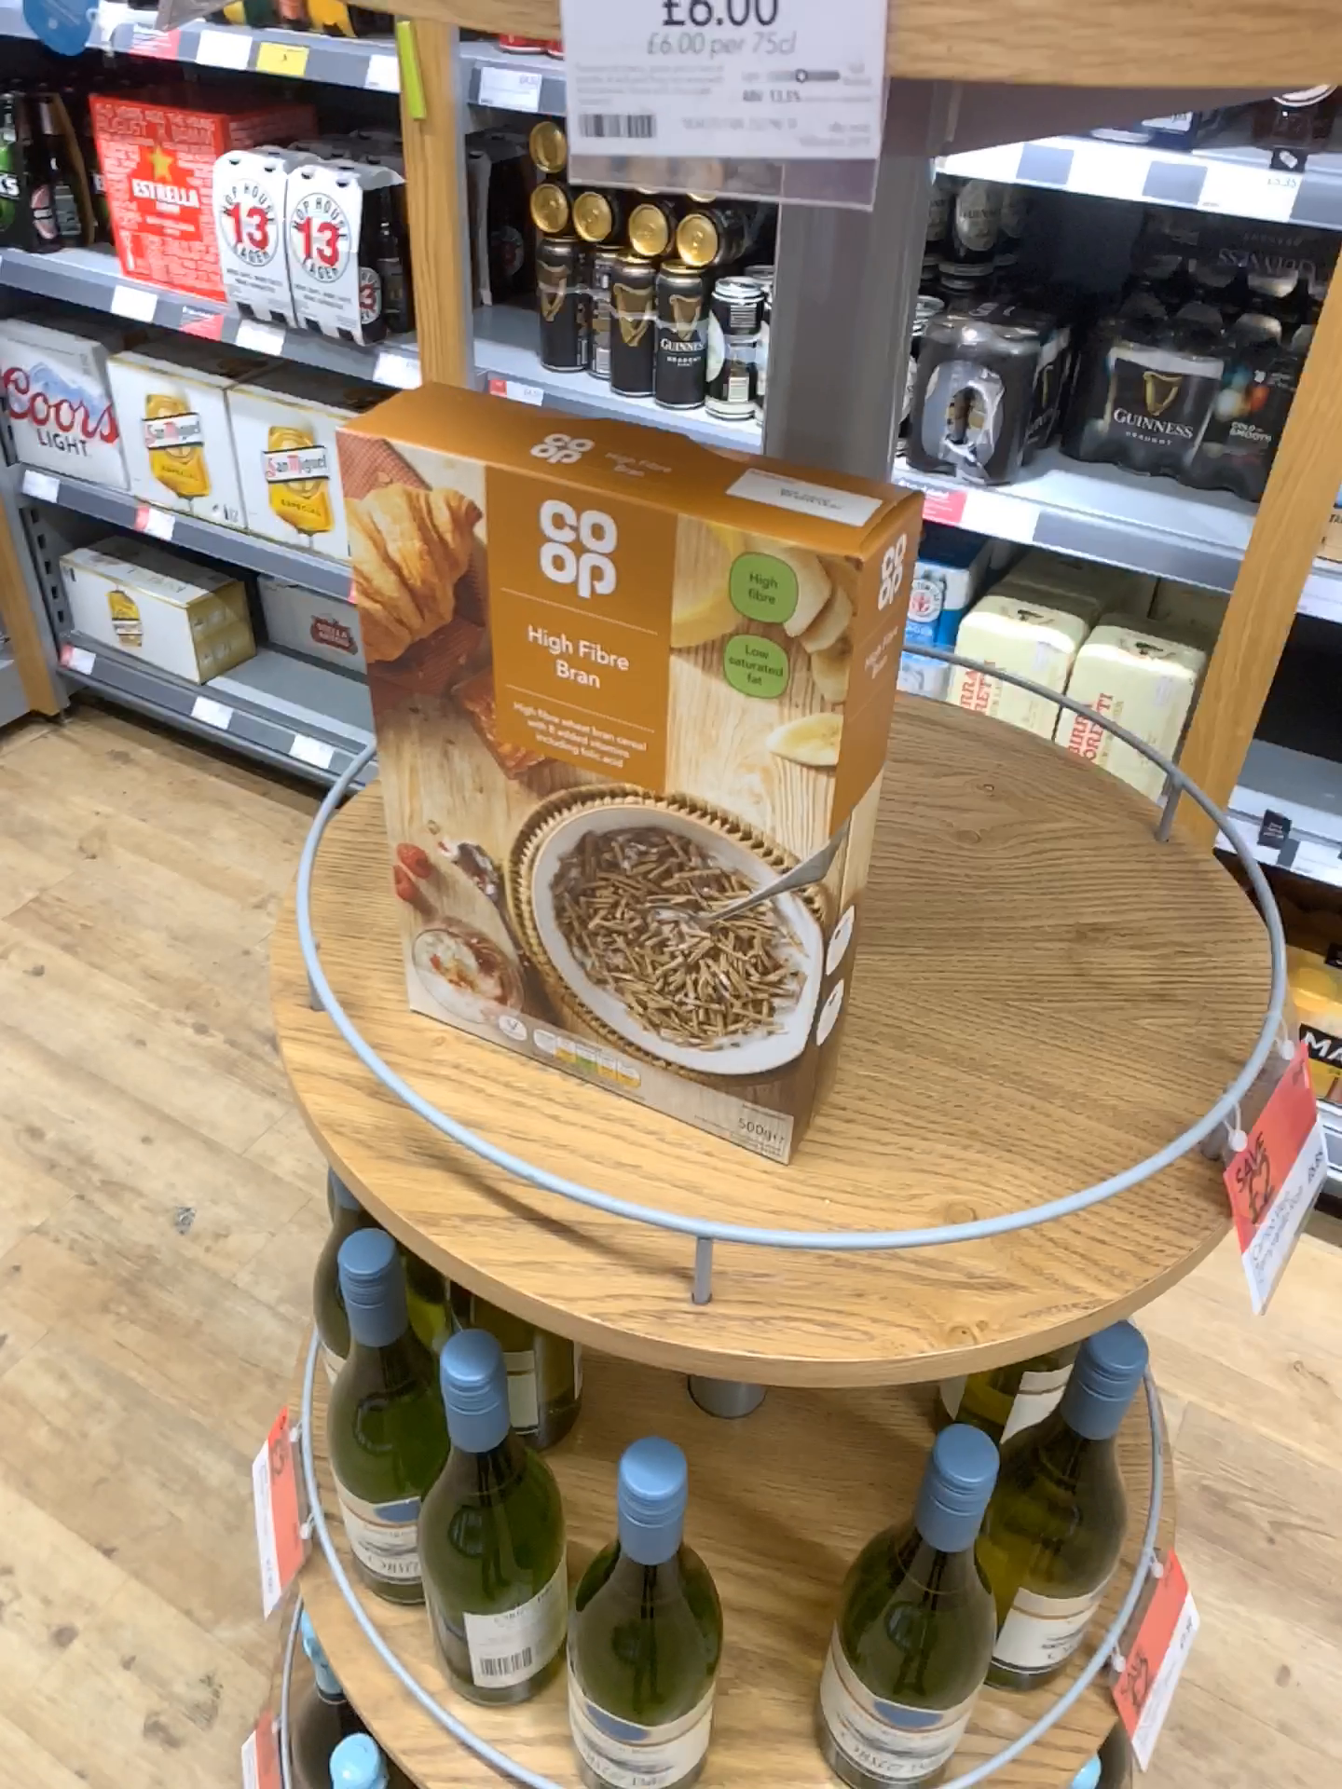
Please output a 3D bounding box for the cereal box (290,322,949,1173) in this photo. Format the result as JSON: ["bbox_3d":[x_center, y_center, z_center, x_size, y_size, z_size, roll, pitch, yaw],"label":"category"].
[{"bbox_3d":[-0.023,-0.045,0.511,0.200,0.277,0.060,19,42,20],"label":"cereal box"}]
